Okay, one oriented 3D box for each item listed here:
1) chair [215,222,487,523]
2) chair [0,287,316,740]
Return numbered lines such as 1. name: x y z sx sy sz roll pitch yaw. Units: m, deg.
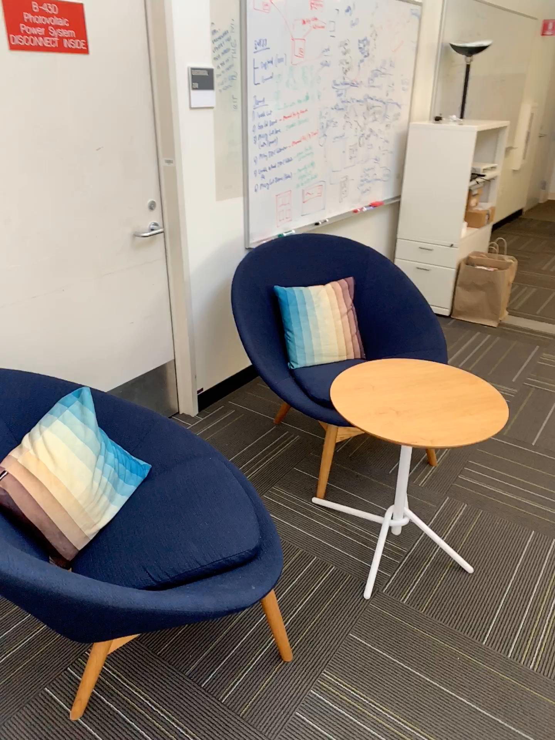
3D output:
1. chair: 0.224 -0.070 2.579 0.830 0.945 0.986 -6 27 -13
2. chair: -0.445 0.334 1.543 0.840 0.835 0.794 -7 27 -16
